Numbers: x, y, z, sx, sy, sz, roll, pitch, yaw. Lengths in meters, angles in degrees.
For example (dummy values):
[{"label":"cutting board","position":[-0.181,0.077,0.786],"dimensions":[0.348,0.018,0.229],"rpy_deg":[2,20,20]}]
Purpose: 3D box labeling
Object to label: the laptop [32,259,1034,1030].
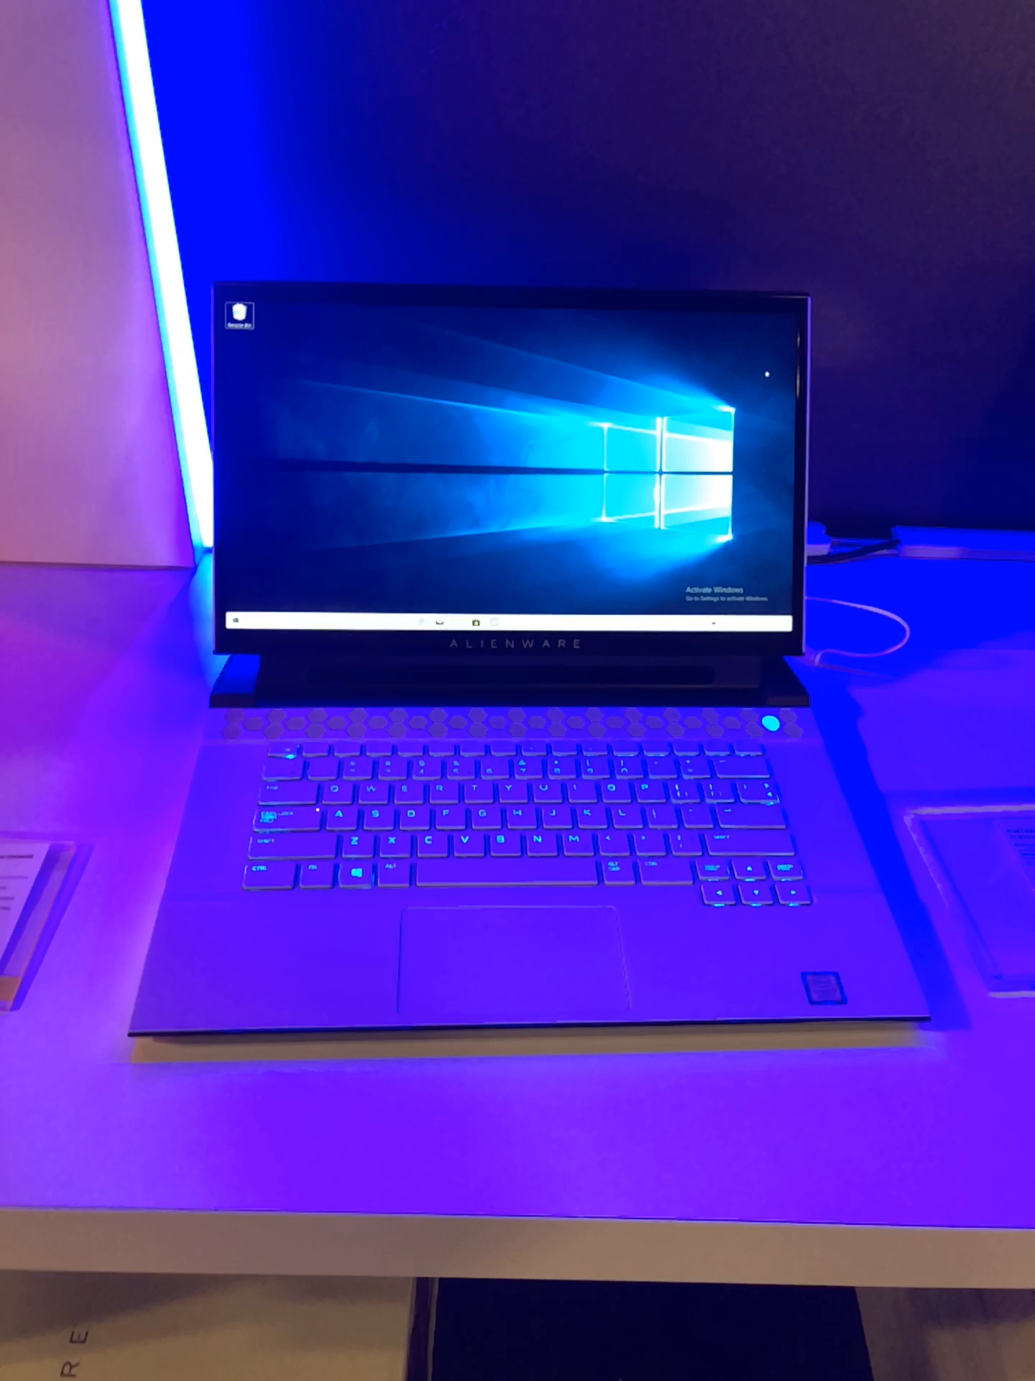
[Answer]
[{"label":"laptop","position":[0.000,-0.051,0.598],"dimensions":[0.356,0.194,0.381],"rpy_deg":[0,40,-3]}]
